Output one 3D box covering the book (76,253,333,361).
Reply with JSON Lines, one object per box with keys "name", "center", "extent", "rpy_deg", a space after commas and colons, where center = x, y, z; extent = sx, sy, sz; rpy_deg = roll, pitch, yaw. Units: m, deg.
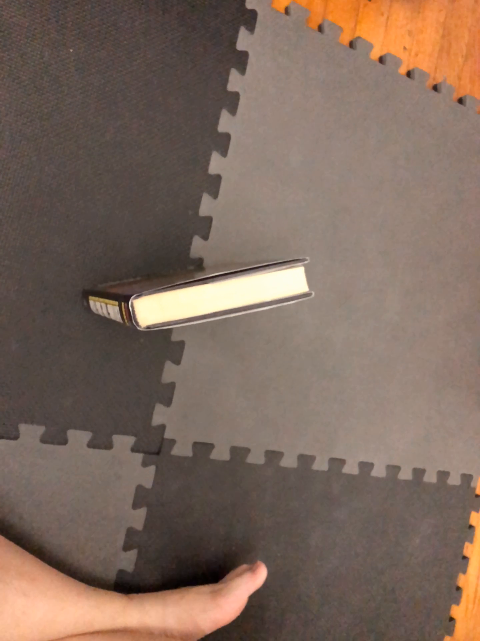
{"name": "book", "center": [-0.055, -0.027, 0.552], "extent": [0.180, 0.259, 0.050], "rpy_deg": [-14, 101, -23]}
